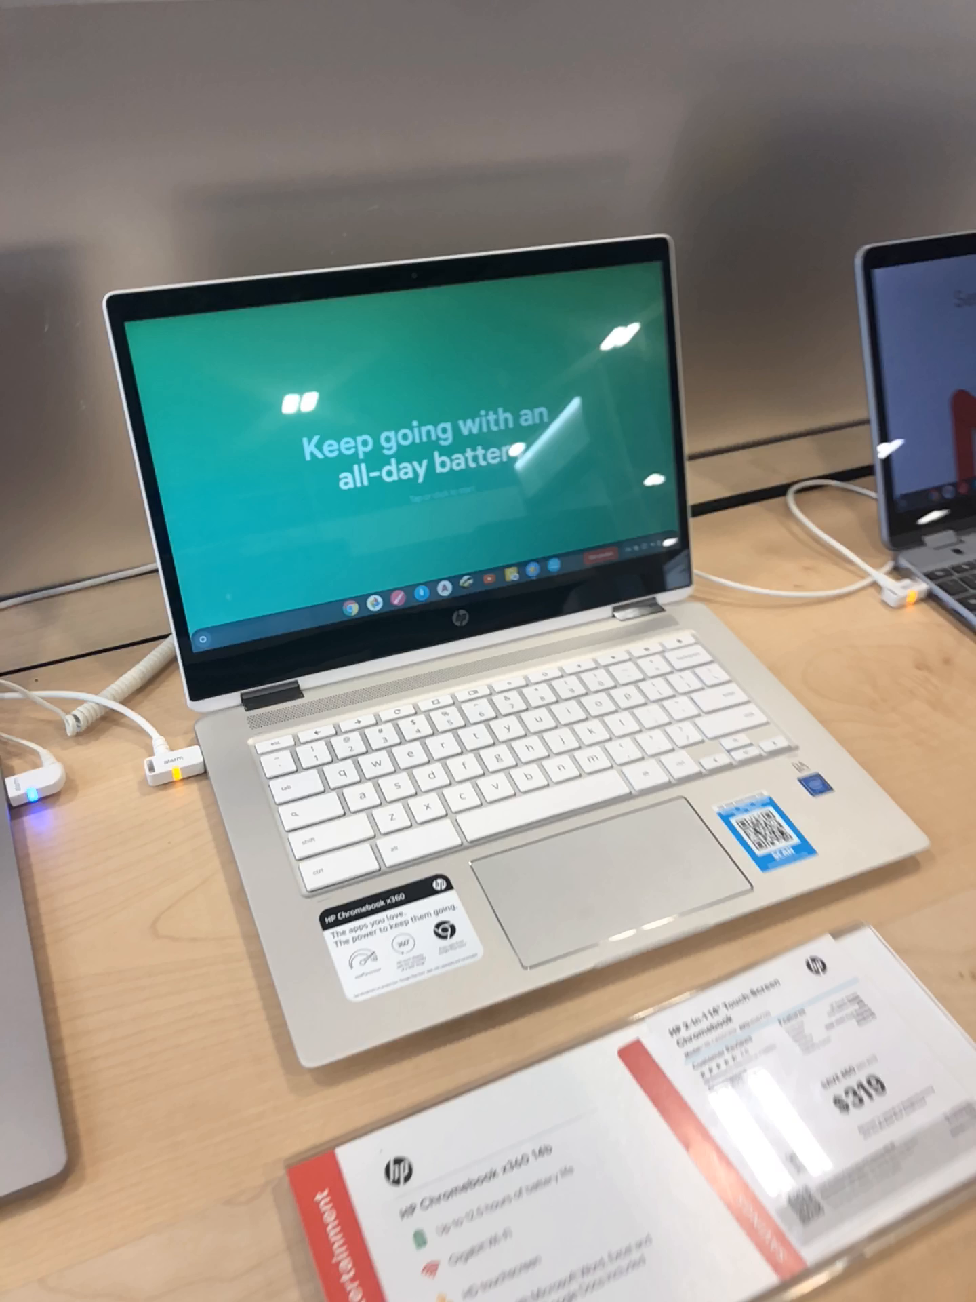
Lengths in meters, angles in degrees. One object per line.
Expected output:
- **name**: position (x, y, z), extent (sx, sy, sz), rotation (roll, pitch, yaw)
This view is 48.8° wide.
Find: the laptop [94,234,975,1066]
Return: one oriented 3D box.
- **laptop**: position (0.012, -0.041, 0.547), extent (0.323, 0.205, 0.319), rotation (-14, 42, -21)
